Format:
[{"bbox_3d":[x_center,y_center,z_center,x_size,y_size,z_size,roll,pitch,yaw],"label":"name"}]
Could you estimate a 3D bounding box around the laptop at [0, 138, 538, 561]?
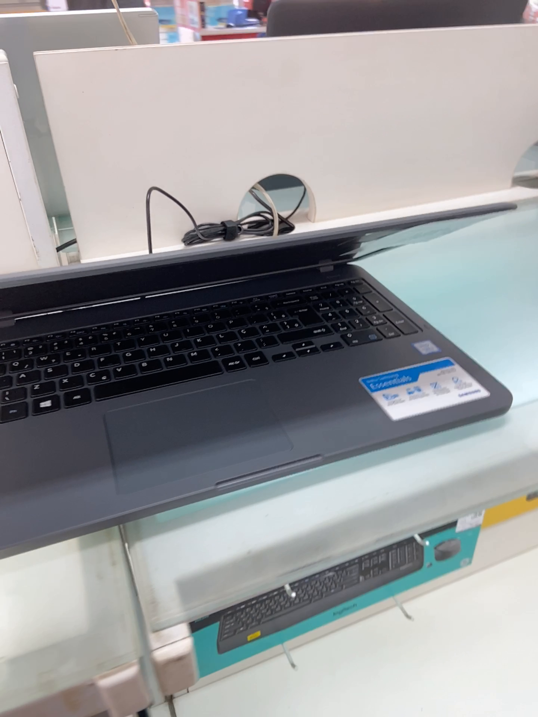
[{"bbox_3d":[-0.041,-0.049,0.393,0.367,0.126,0.238,-12,37,-18],"label":"laptop"}]
